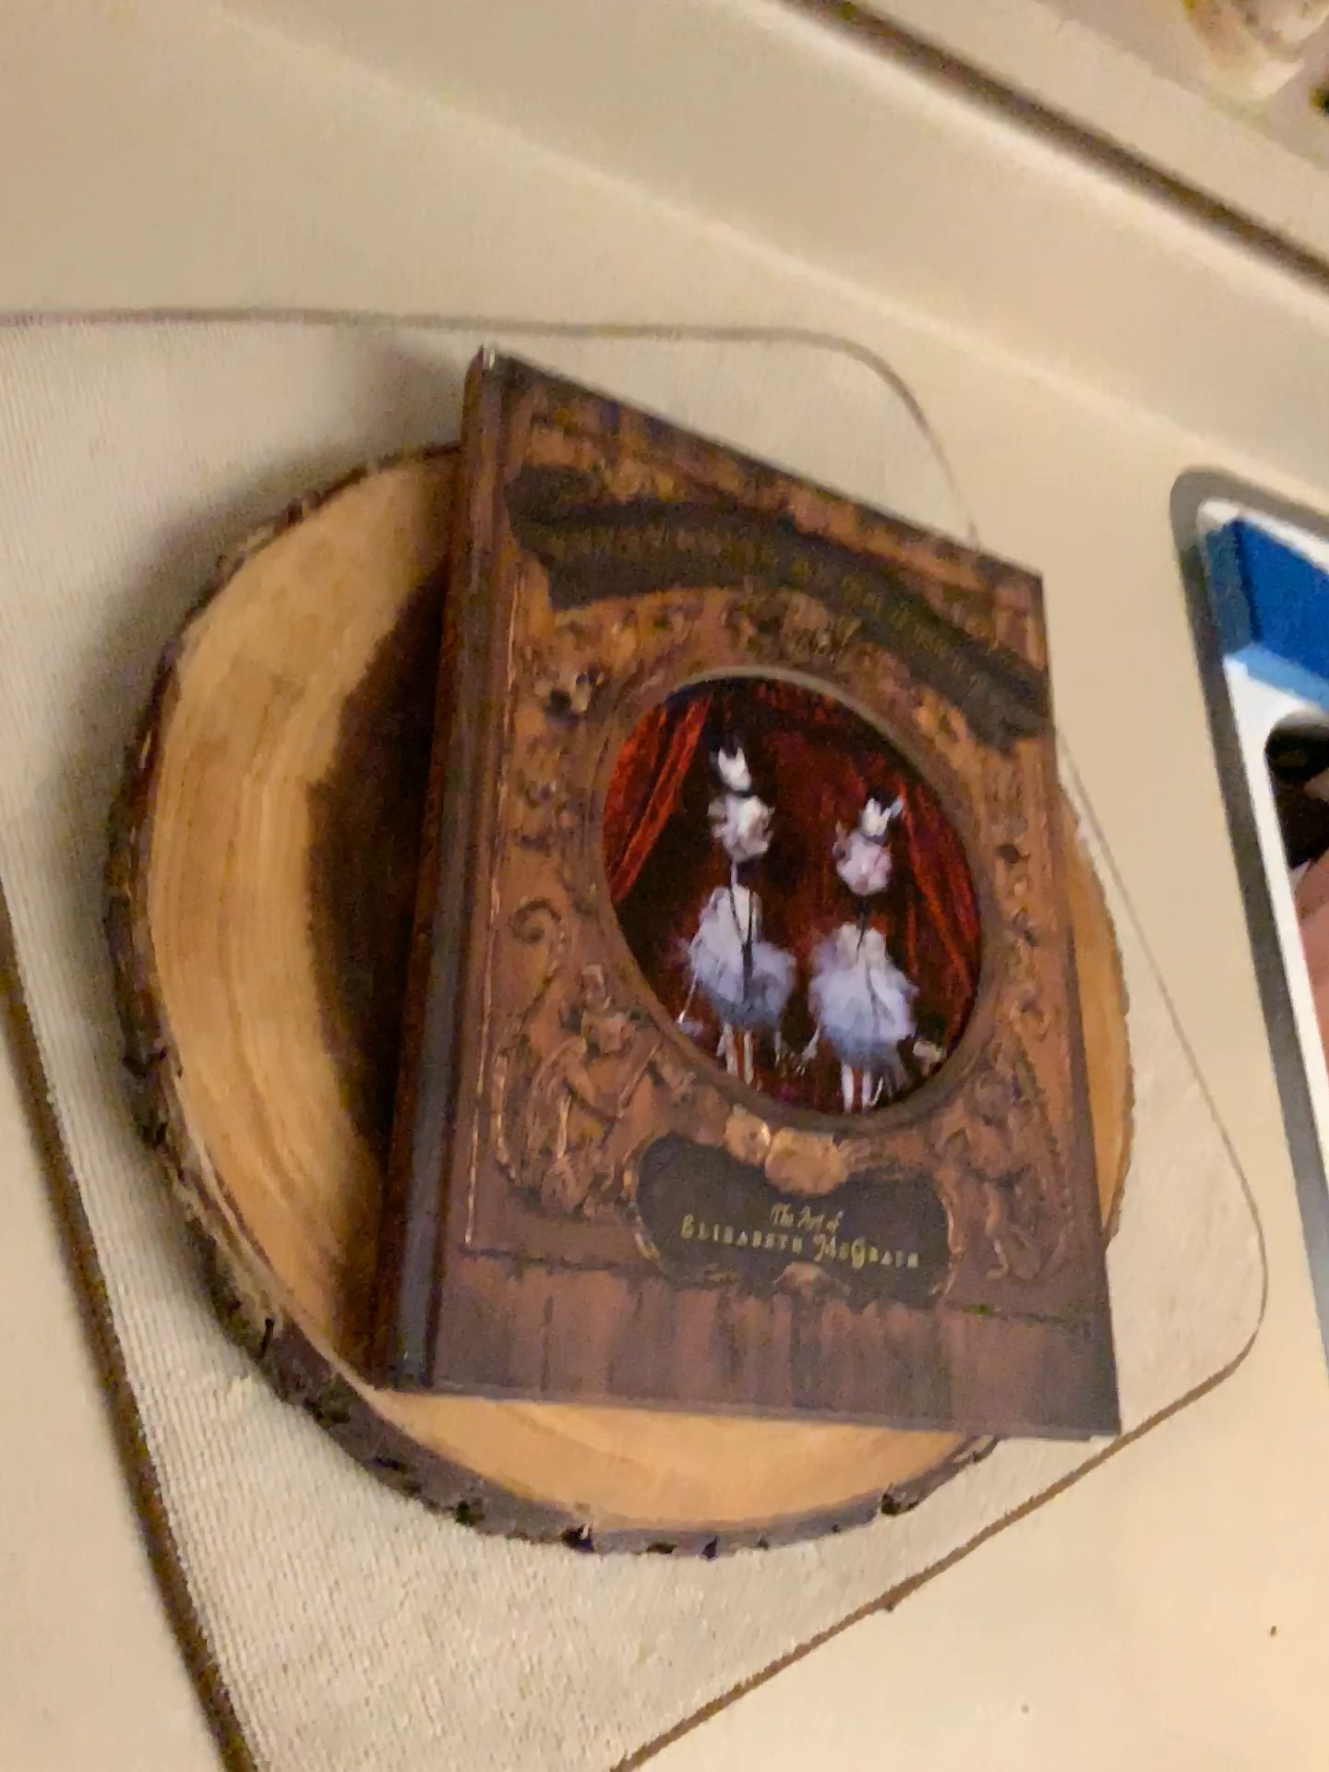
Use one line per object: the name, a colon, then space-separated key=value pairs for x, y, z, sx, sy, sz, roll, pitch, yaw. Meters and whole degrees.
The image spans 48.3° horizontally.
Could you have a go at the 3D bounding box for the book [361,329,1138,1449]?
book: x=0.036 y=0.000 z=0.450 sx=0.230 sy=0.020 sz=0.310 roll=14 pitch=63 yaw=-27
